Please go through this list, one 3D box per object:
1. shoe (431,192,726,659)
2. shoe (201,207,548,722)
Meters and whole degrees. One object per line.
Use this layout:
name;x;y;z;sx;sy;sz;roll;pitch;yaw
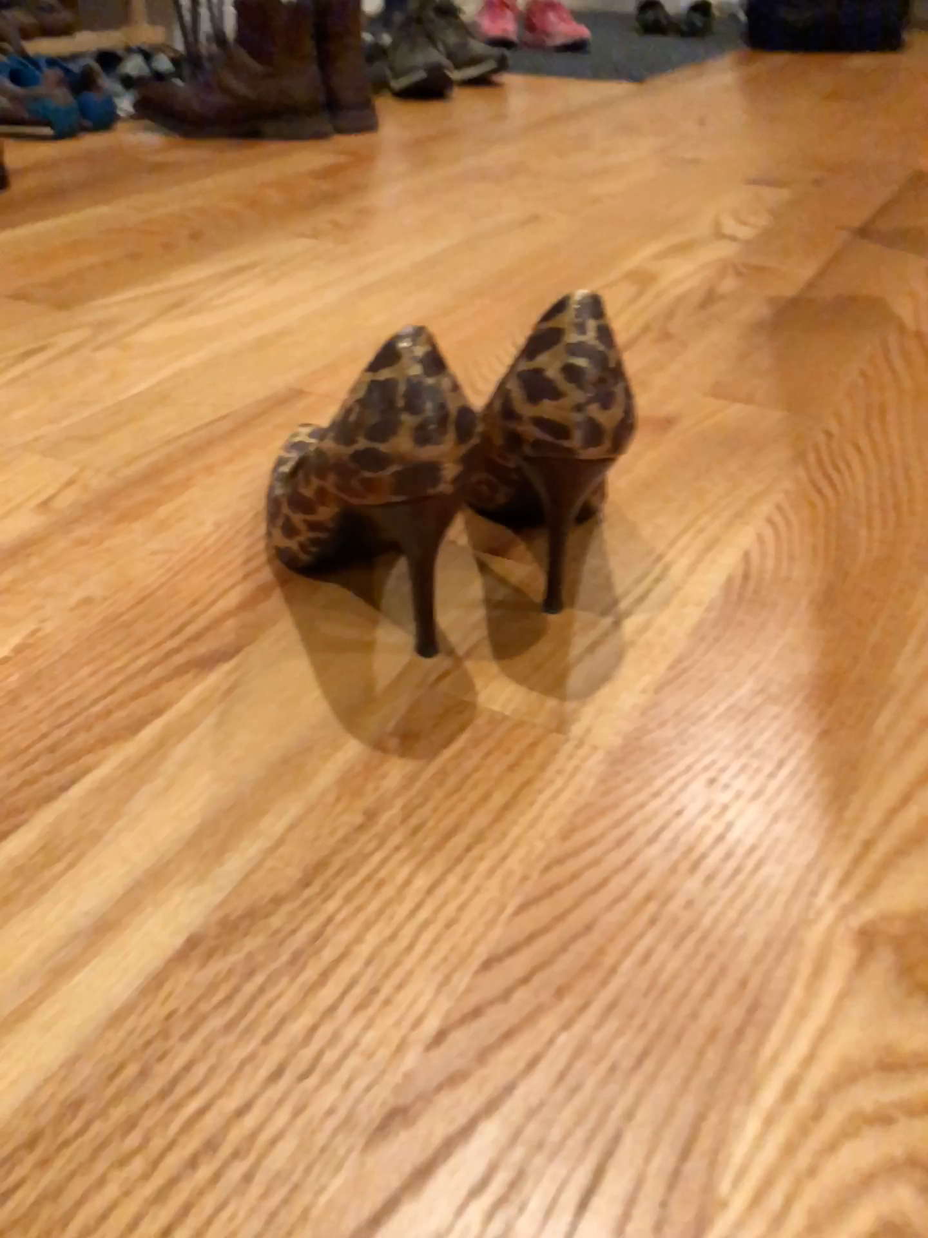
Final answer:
shoe;0.039;-0.106;0.495;0.083;0.144;0.220;-4;34;-6
shoe;-0.049;-0.084;0.462;0.084;0.144;0.219;-12;36;-17
